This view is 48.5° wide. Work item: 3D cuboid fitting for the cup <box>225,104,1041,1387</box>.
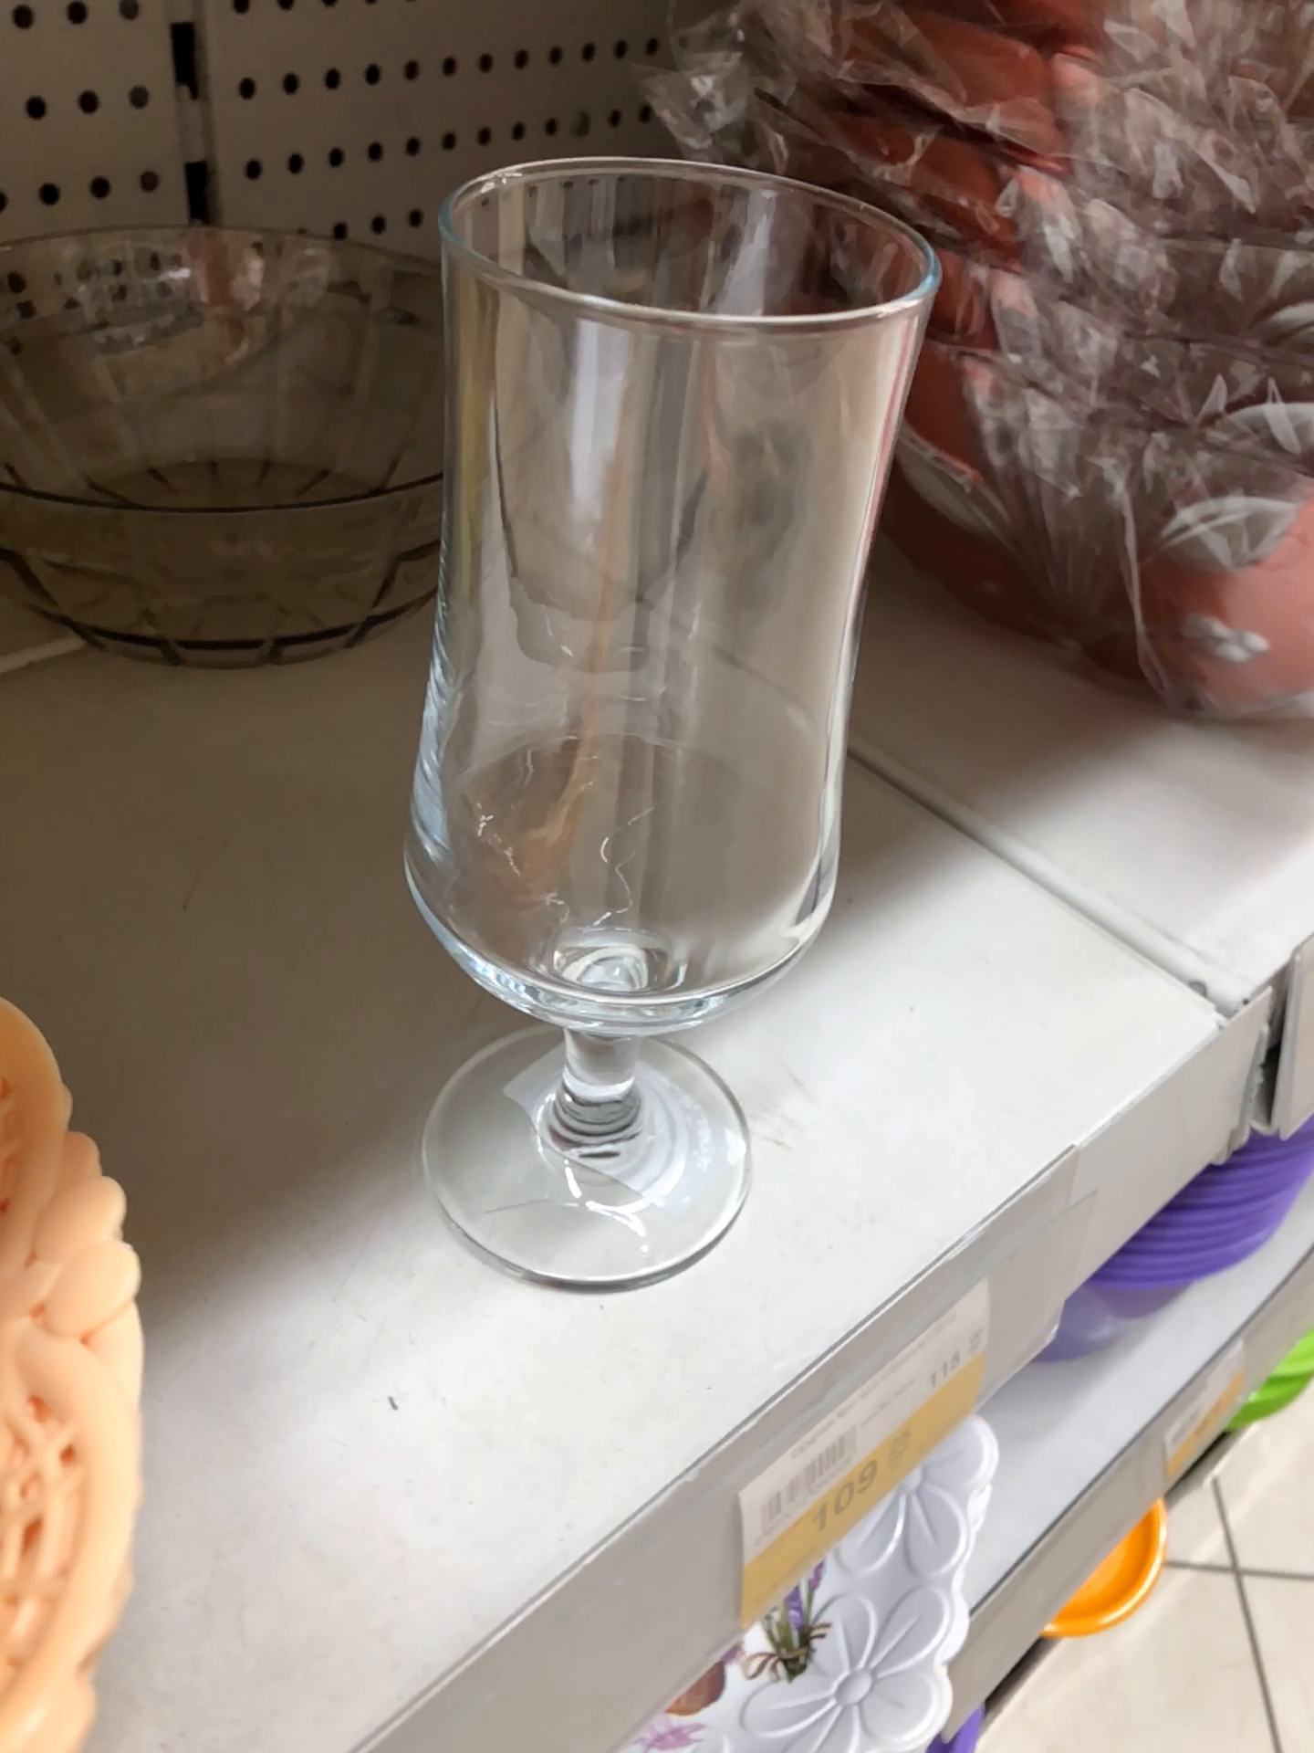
[{"bbox_3d":[-0.008,-0.012,0.253,0.075,0.194,0.078,4,41,-3],"label":"cup"}]
